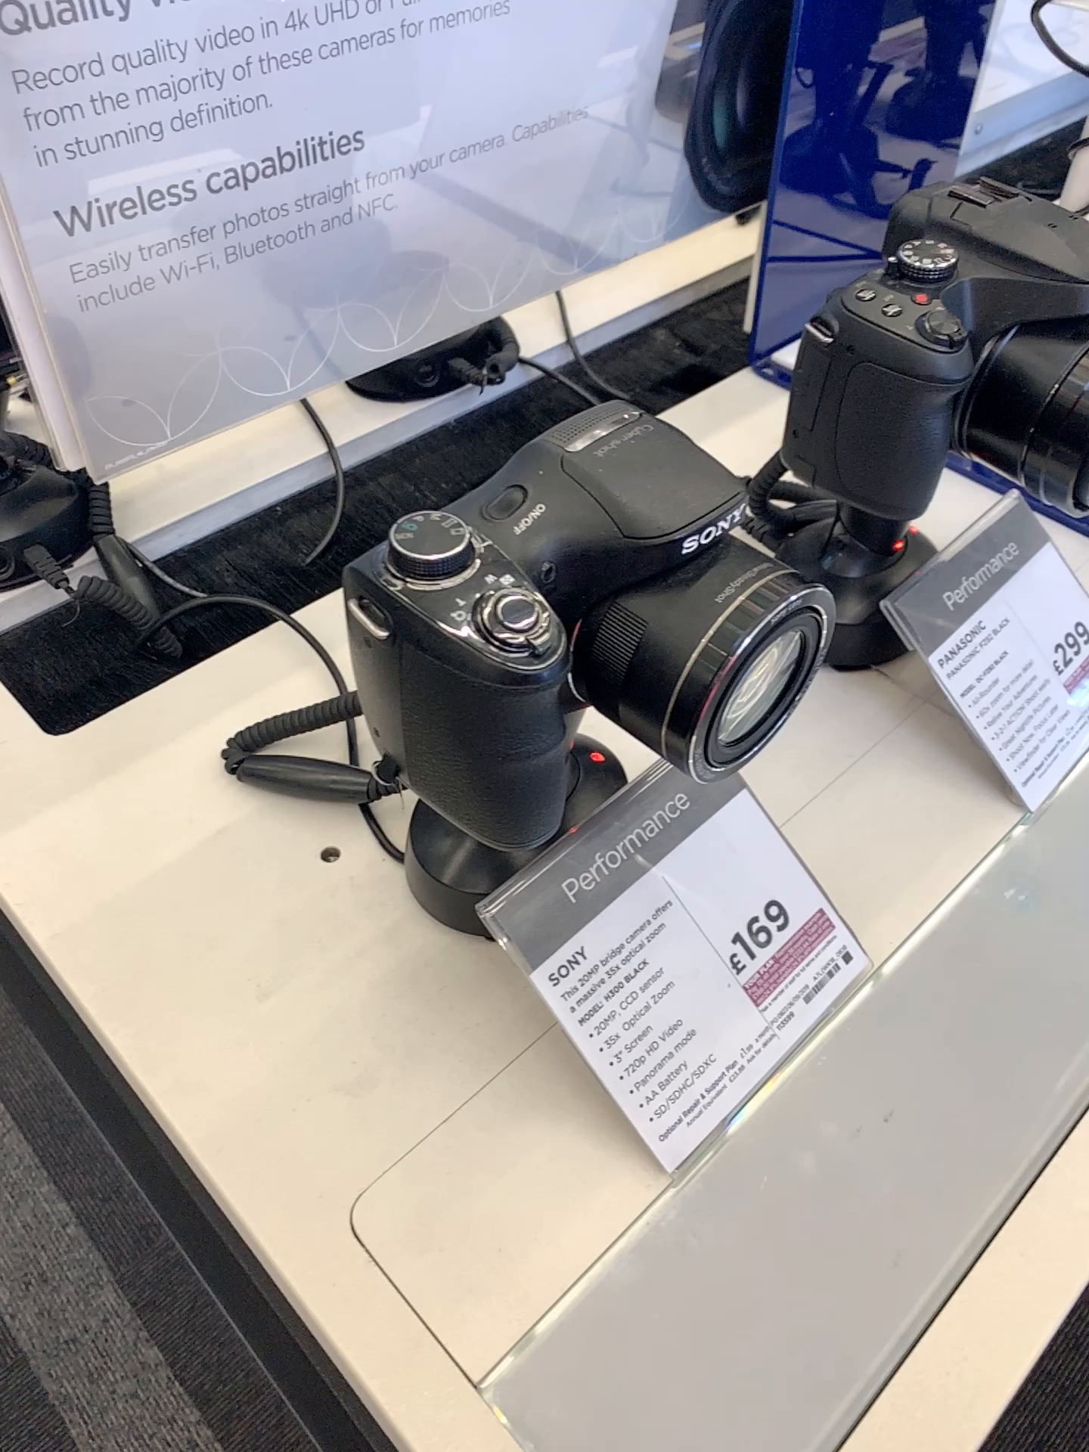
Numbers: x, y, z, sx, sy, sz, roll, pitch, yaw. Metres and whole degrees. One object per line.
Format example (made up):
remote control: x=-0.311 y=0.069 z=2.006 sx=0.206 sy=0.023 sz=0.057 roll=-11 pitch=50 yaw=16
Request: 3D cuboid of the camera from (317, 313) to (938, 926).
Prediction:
camera: x=0.023 y=-0.036 z=0.311 sx=0.131 sy=0.089 sz=0.090 roll=-34 pitch=56 yaw=-29
